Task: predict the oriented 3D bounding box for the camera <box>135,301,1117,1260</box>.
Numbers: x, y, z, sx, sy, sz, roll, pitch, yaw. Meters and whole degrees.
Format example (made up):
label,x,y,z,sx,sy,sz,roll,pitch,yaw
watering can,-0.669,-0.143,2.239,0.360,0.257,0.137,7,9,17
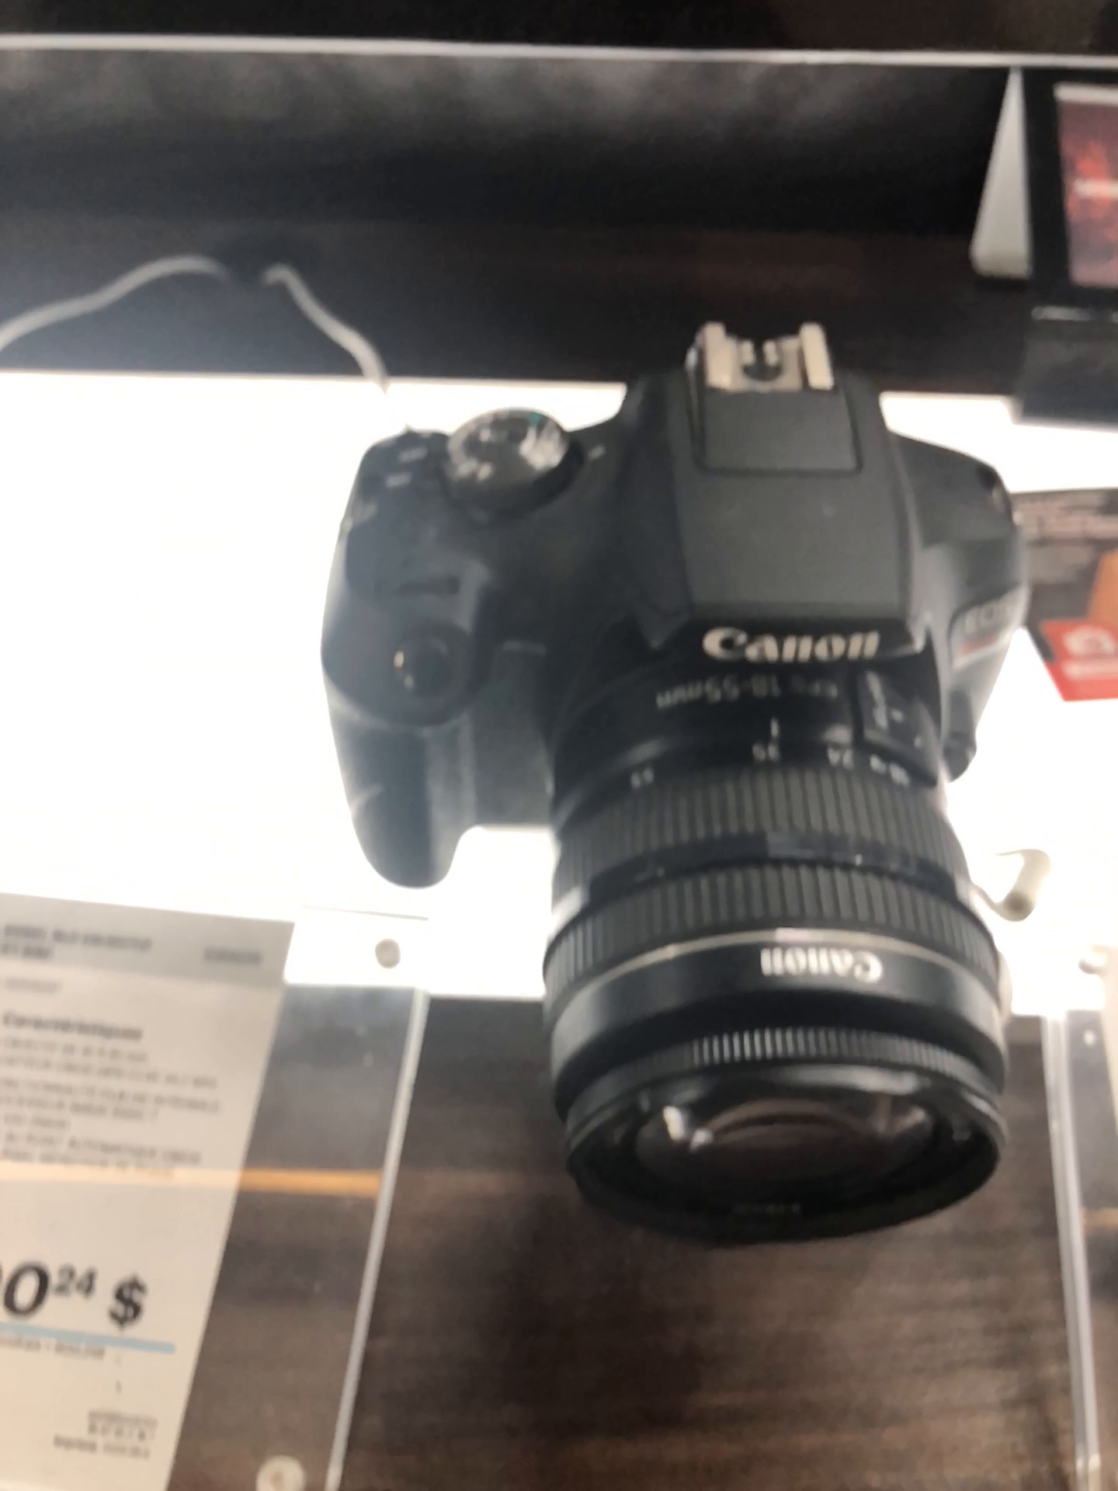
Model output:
label,x,y,z,sx,sy,sz,roll,pitch,yaw
camera,0.023,0.004,0.199,0.128,0.099,0.112,0,45,0
